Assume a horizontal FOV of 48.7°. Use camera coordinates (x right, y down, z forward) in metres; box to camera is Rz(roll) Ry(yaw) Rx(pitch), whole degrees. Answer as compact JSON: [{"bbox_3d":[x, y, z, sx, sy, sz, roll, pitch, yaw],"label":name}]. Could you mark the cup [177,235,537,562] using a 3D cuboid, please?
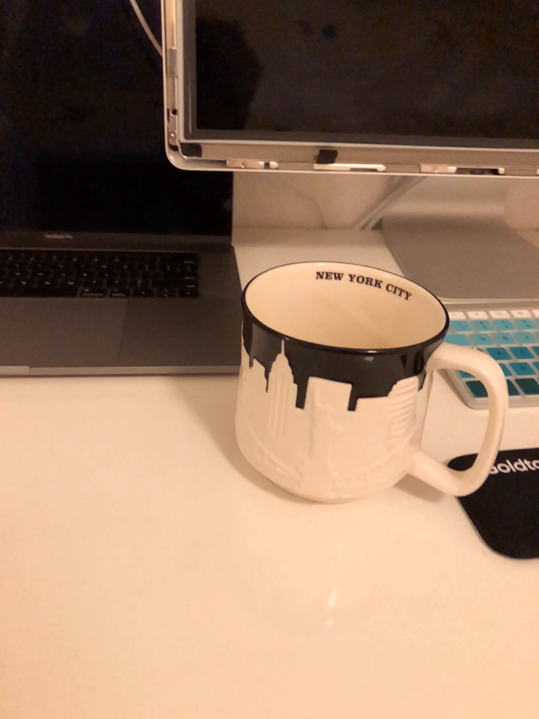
[{"bbox_3d":[0.046,0.009,0.309,0.150,0.089,0.111,14,33,16],"label":"cup"}]
